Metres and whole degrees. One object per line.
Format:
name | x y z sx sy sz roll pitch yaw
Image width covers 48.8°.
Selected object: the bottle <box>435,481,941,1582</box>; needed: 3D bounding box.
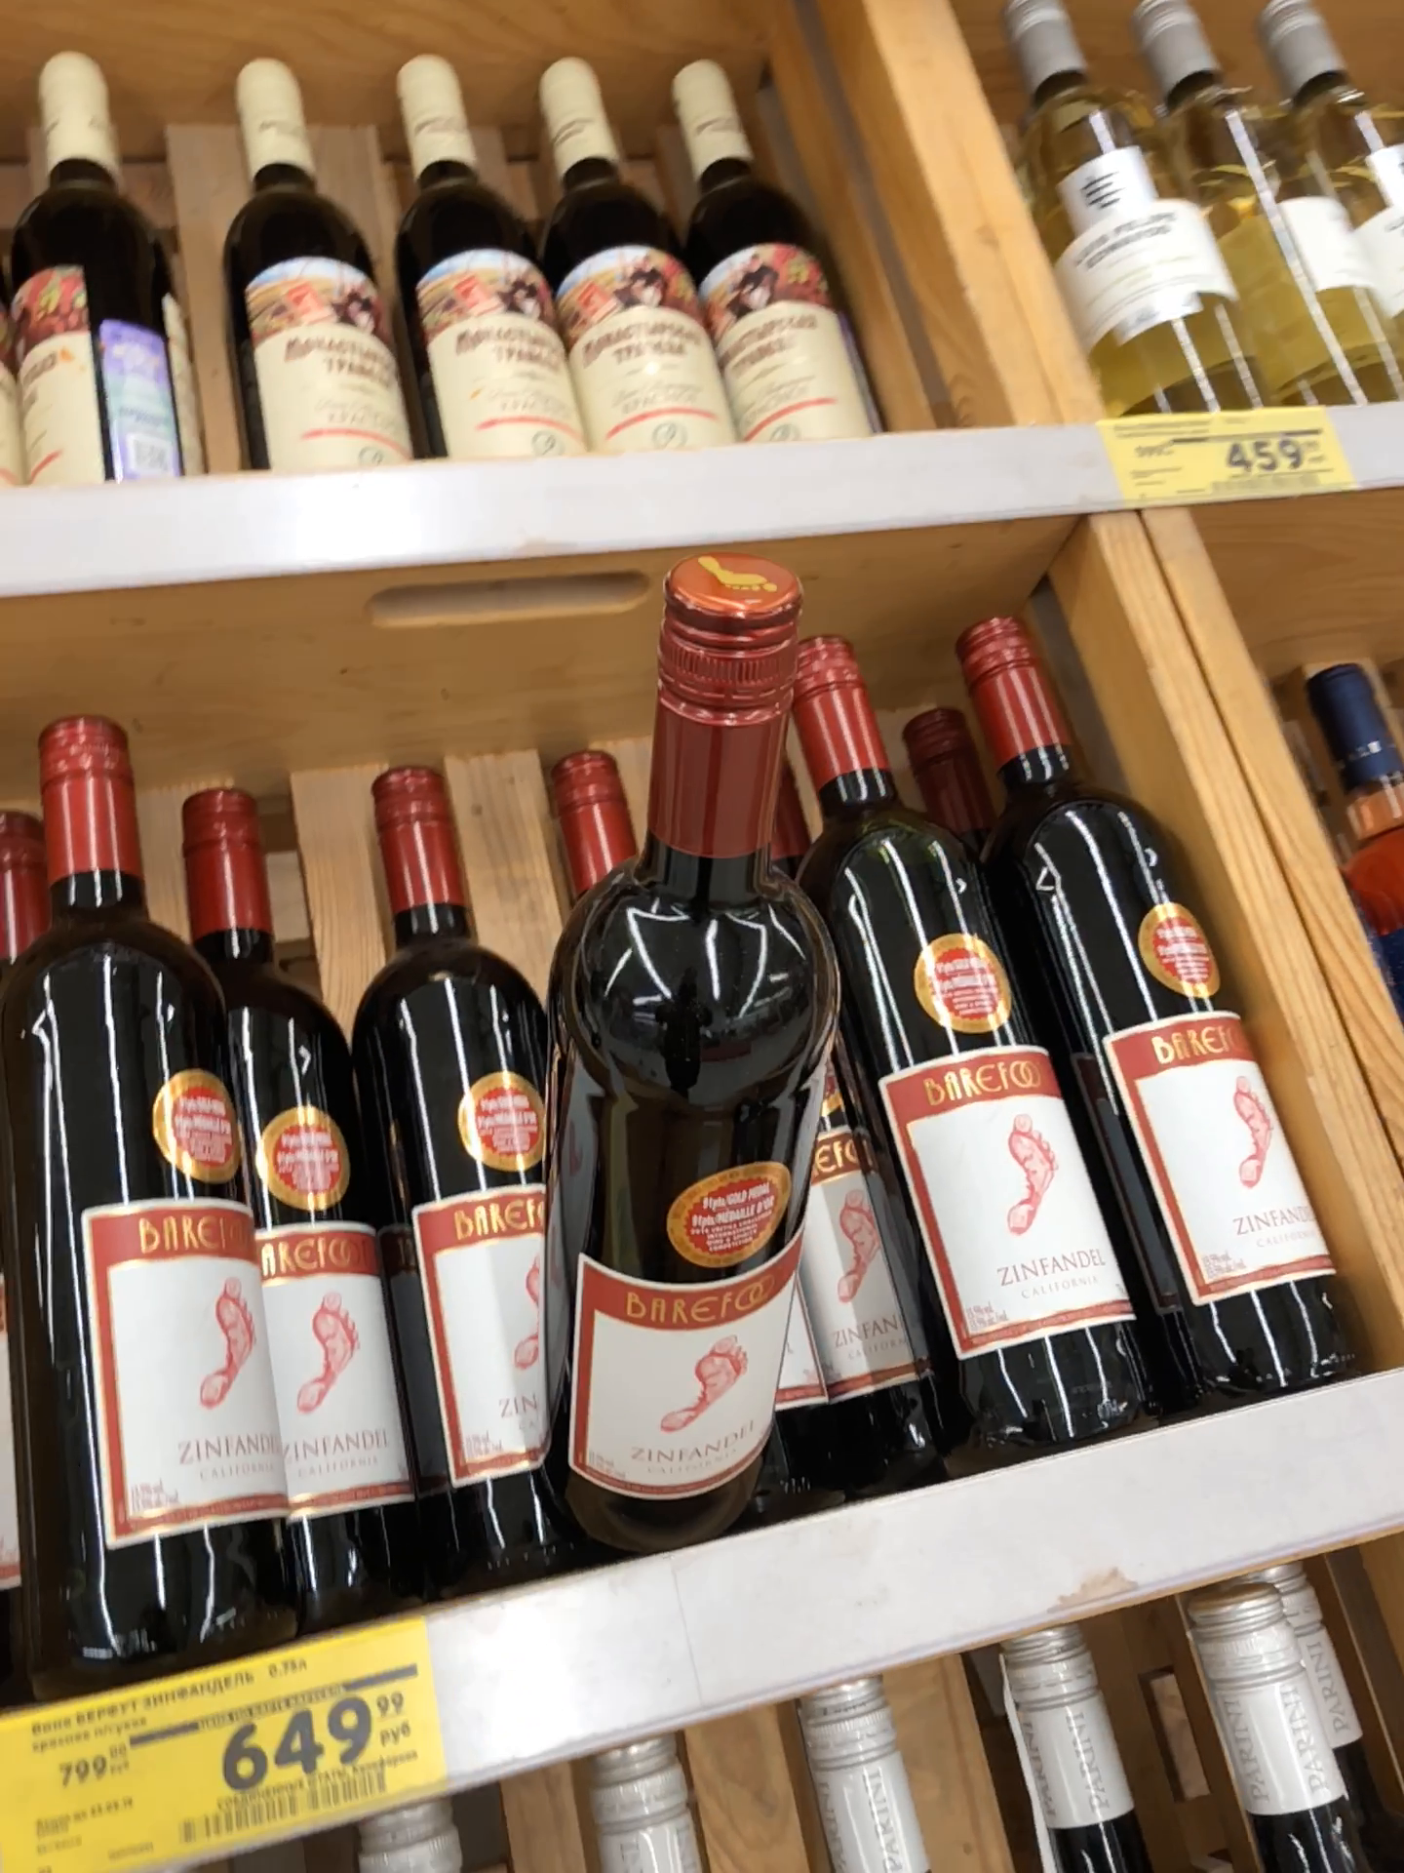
bottle | -0.013 0.041 0.396 0.080 0.288 0.080 2 38 -2
